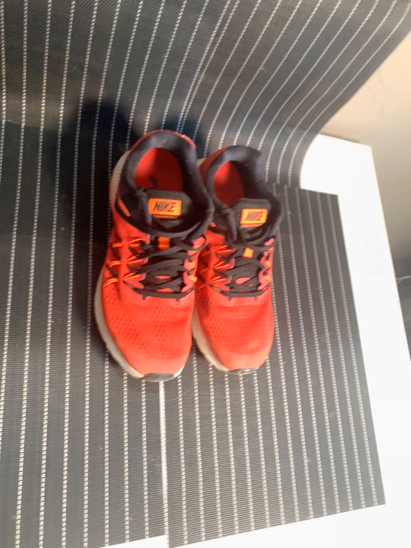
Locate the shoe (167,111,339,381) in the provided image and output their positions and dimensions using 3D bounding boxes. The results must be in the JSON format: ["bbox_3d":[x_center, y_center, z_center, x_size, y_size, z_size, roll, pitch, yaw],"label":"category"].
[{"bbox_3d":[0.042,-0.026,0.483,0.120,0.110,0.270,0,74,-25],"label":"shoe"}]

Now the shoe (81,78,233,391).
[{"bbox_3d":[-0.061,-0.034,0.456,0.120,0.110,0.300,4,72,-24],"label":"shoe"}]
